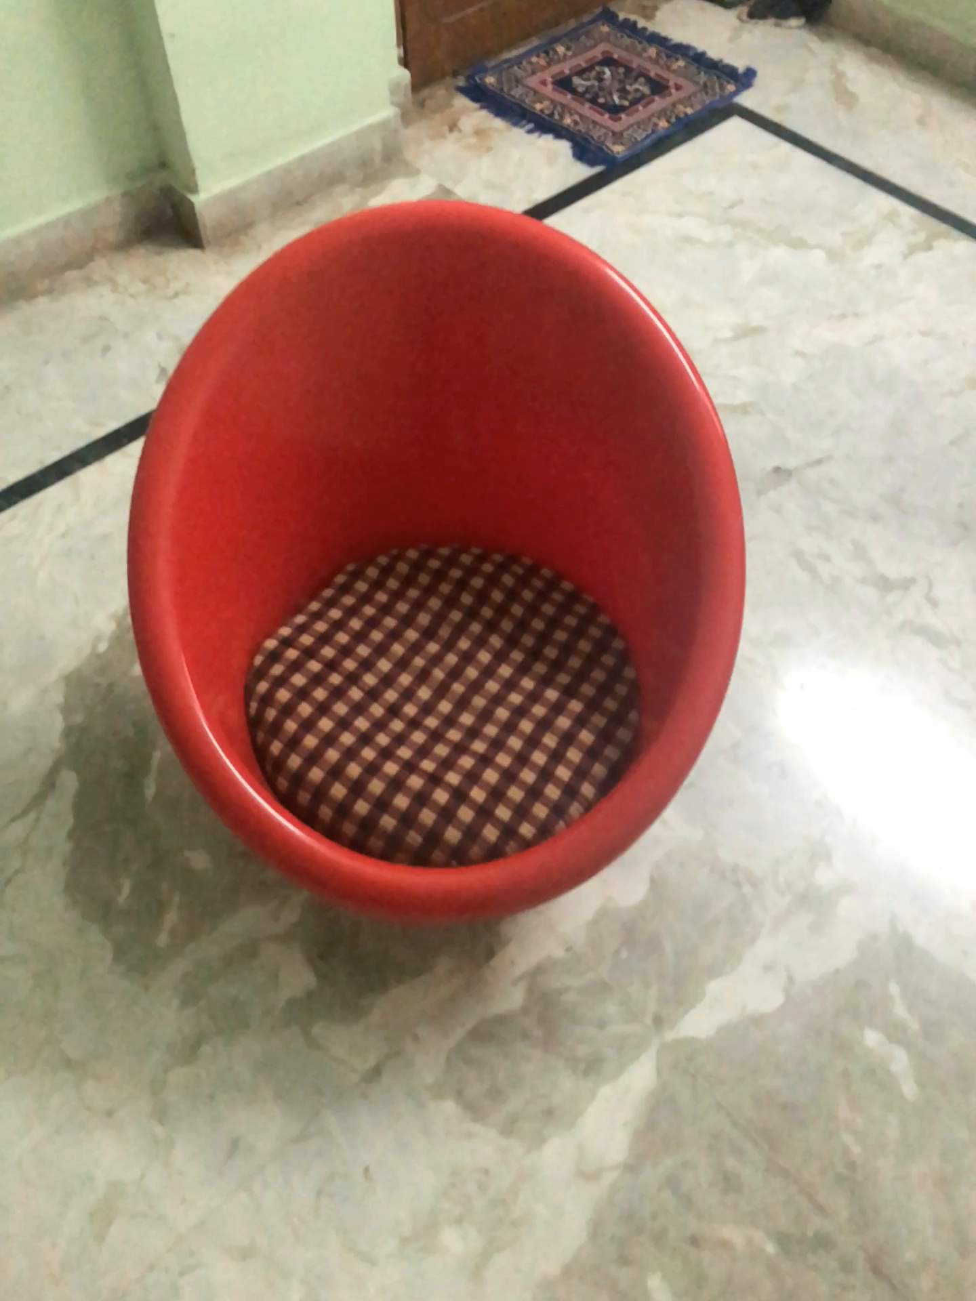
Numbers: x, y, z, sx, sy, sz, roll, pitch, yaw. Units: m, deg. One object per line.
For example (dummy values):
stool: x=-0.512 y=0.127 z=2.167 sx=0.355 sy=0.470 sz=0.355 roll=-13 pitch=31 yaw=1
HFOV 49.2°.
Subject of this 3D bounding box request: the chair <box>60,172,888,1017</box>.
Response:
chair: x=-0.054 y=-0.076 z=1.212 sx=0.620 sy=0.507 sz=0.744 roll=-7 pitch=55 yaw=-5
